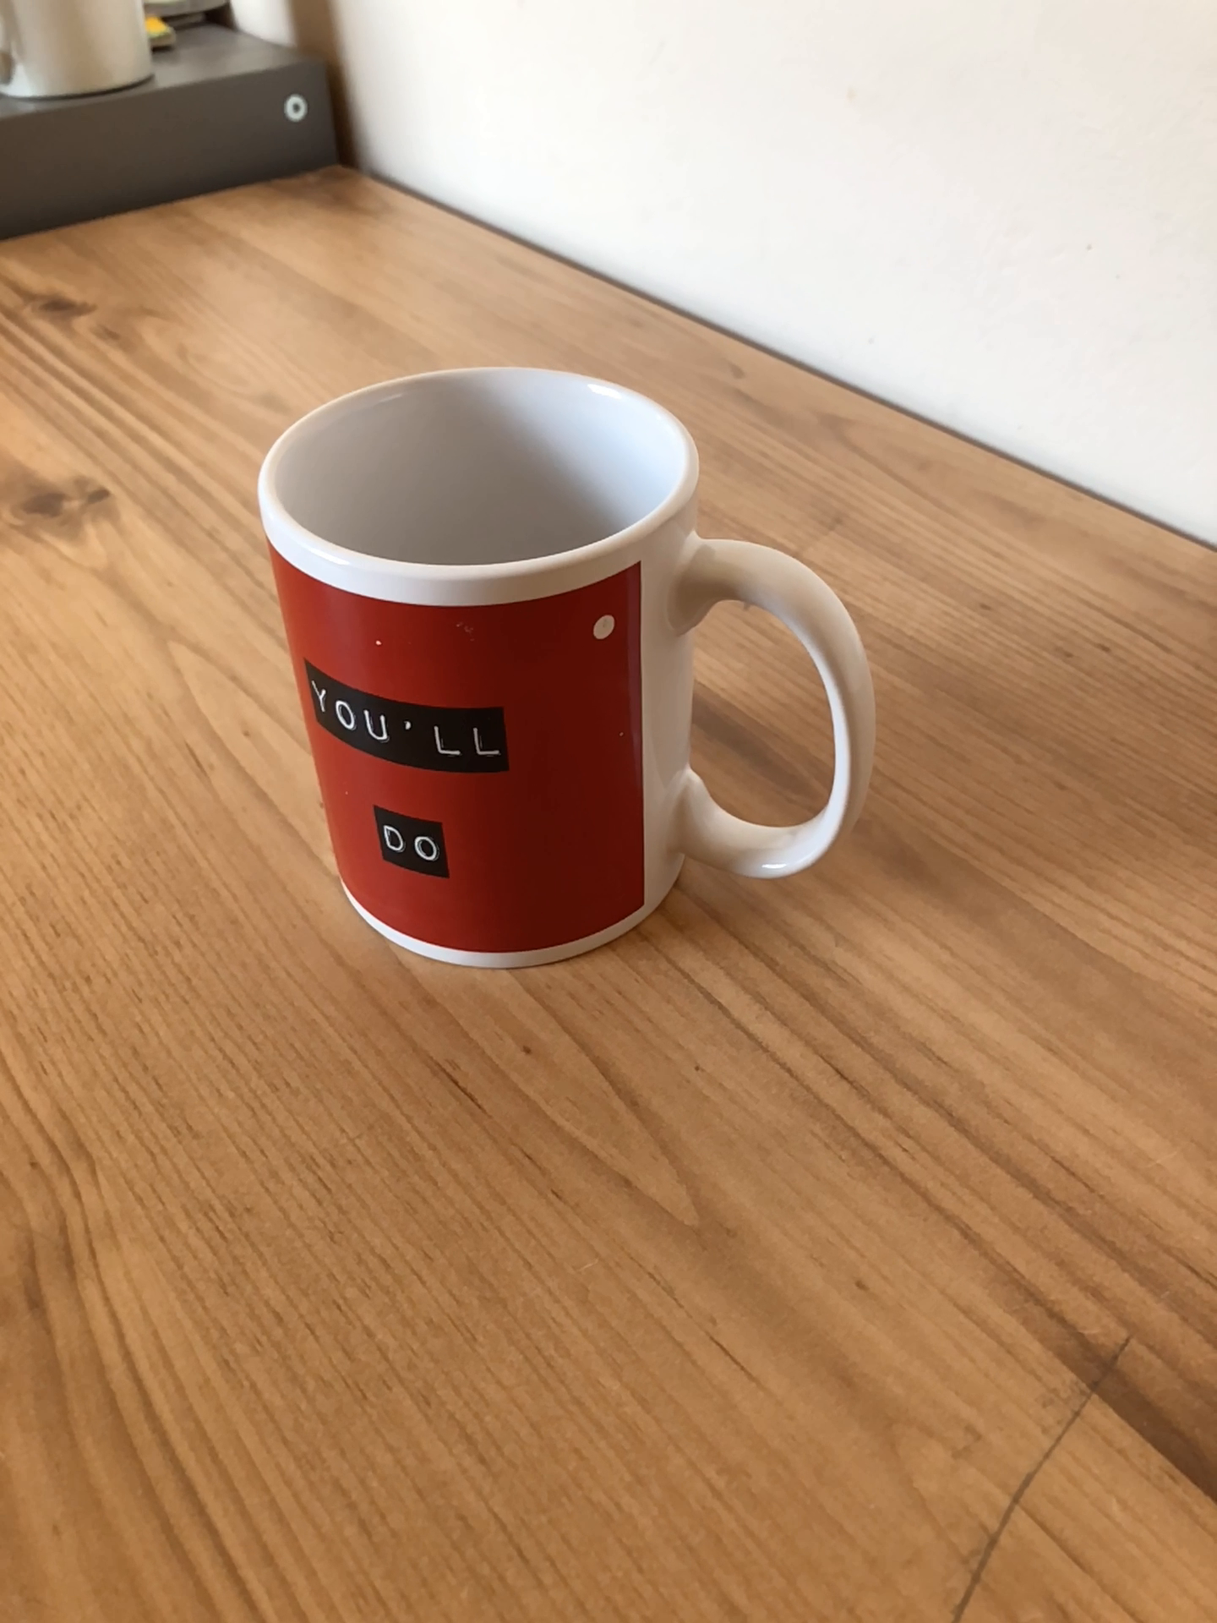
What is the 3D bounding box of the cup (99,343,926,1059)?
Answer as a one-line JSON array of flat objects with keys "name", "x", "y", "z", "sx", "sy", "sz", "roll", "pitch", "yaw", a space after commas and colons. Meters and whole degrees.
[{"name": "cup", "x": -0.012, "y": -0.029, "z": 0.272, "sx": 0.123, "sy": 0.086, "sz": 0.091, "roll": 13, "pitch": 41, "yaw": 17}]
